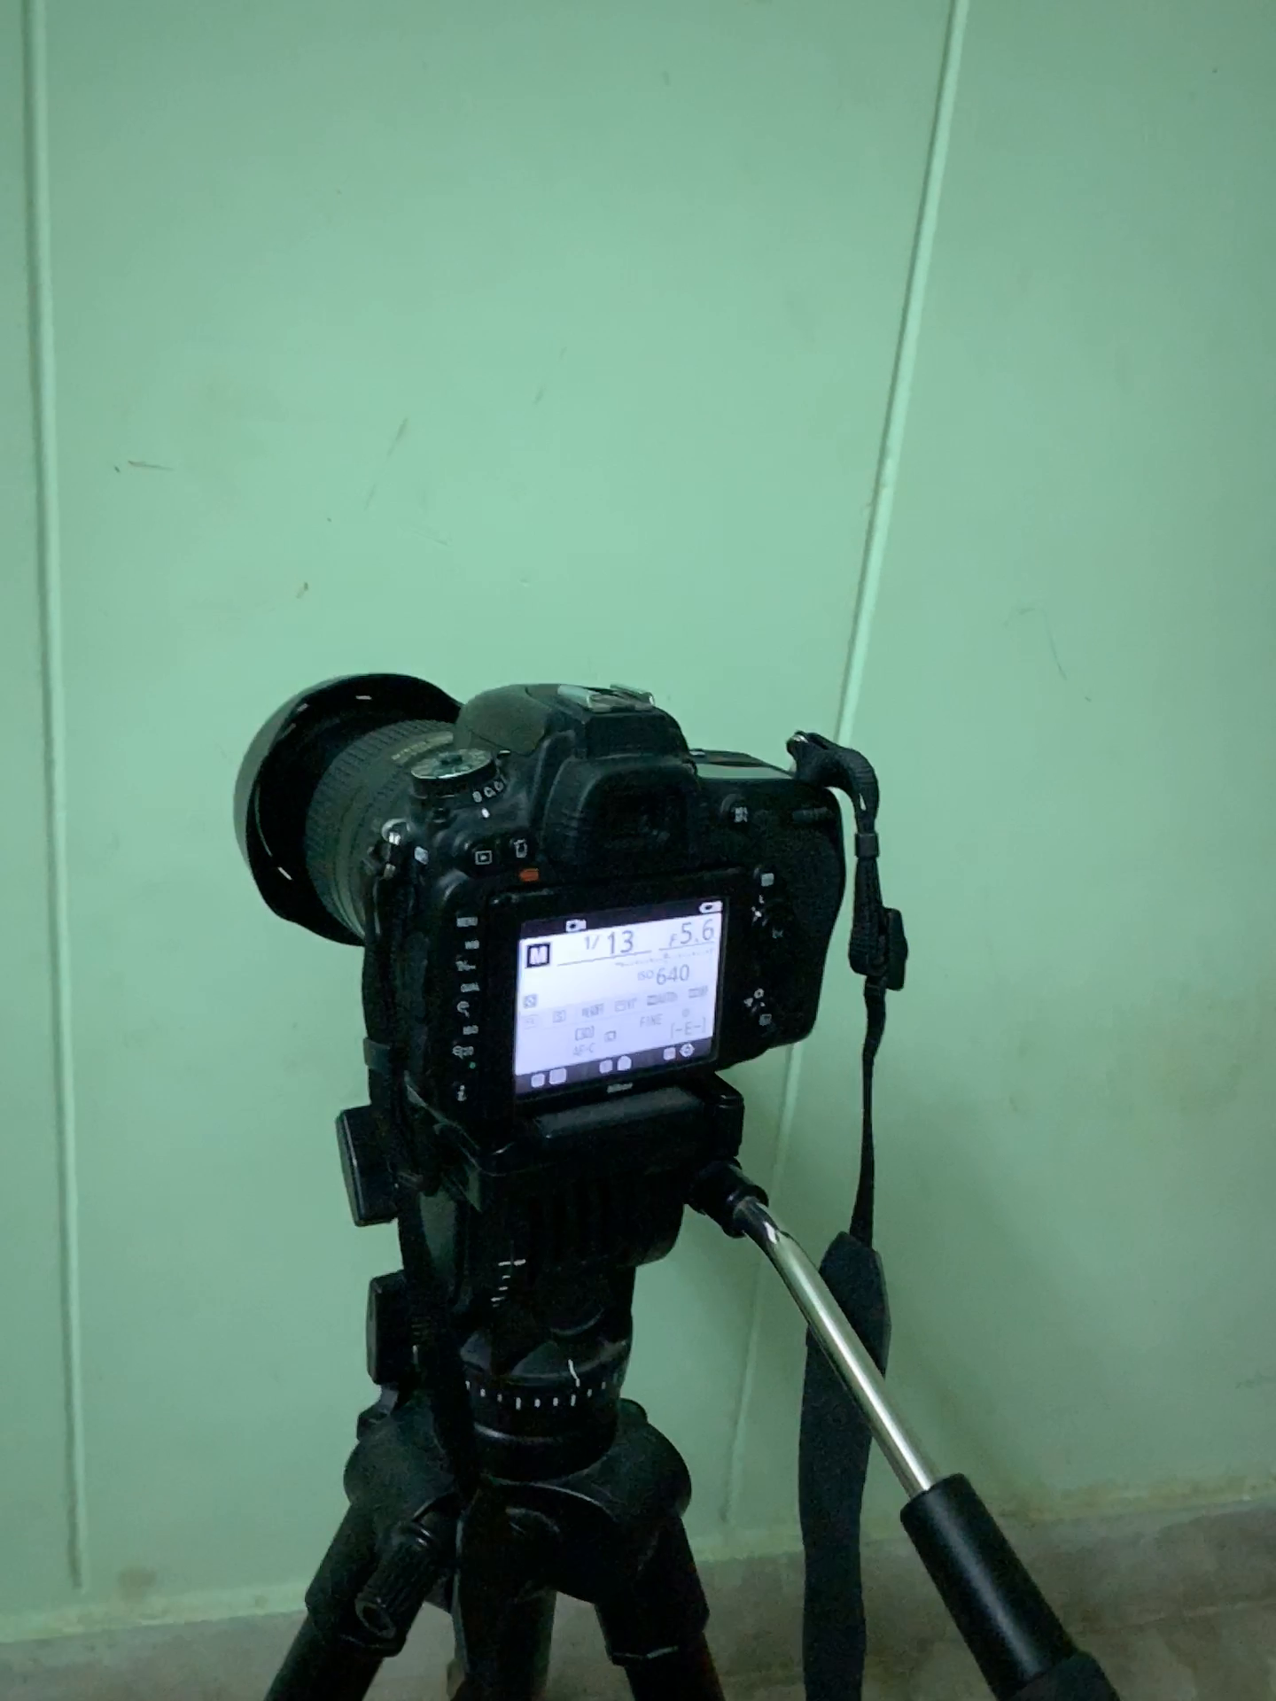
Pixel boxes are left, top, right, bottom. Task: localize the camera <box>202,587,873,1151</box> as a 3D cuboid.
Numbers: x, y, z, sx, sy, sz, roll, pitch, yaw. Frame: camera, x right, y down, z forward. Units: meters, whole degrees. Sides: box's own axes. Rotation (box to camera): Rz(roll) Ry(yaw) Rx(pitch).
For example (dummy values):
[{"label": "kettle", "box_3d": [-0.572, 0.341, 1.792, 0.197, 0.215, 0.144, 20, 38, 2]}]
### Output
[{"label": "camera", "box_3d": [-0.046, -0.012, 0.430, 0.140, 0.117, 0.182, -6, 21, -33]}]
